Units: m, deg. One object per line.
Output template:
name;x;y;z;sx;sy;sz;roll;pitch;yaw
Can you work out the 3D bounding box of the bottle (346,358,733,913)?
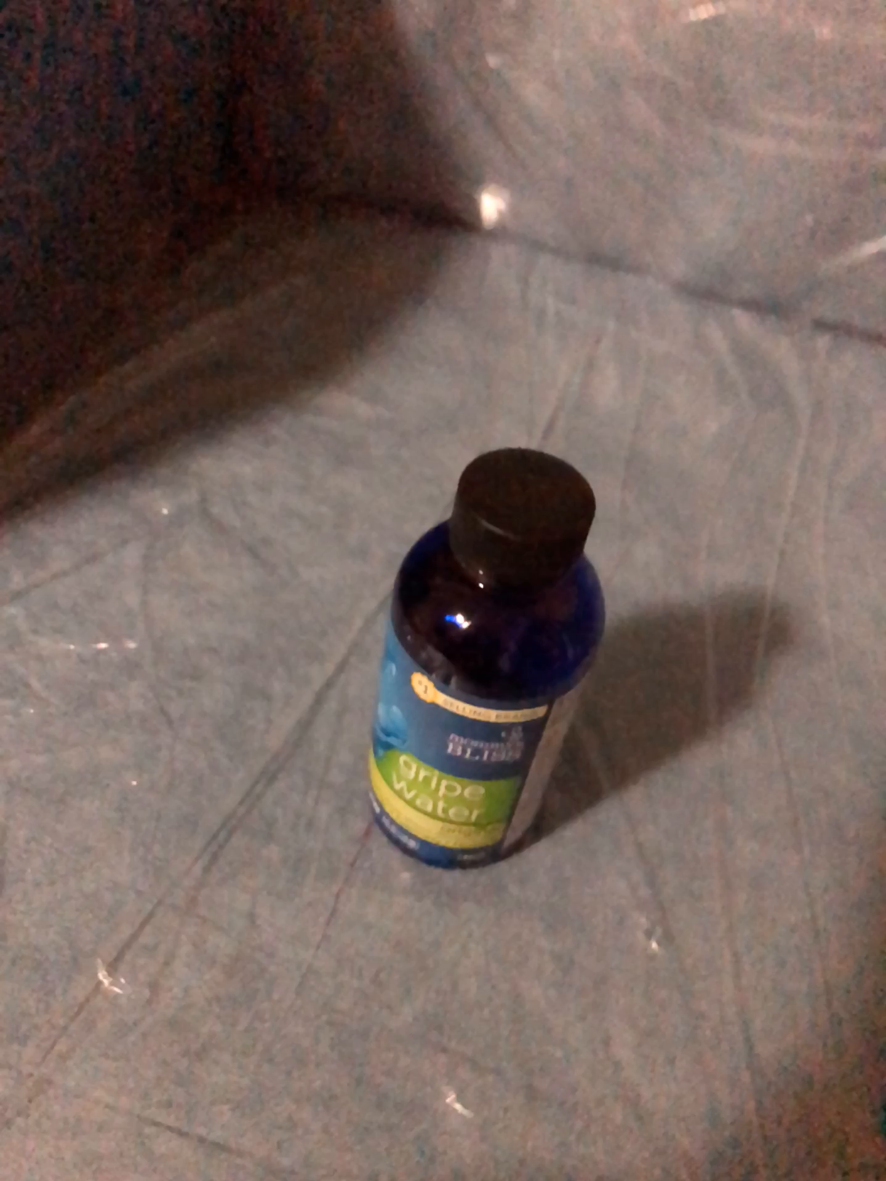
bottle;0.015;0.017;0.231;0.050;0.120;0.050;4;50;-5
